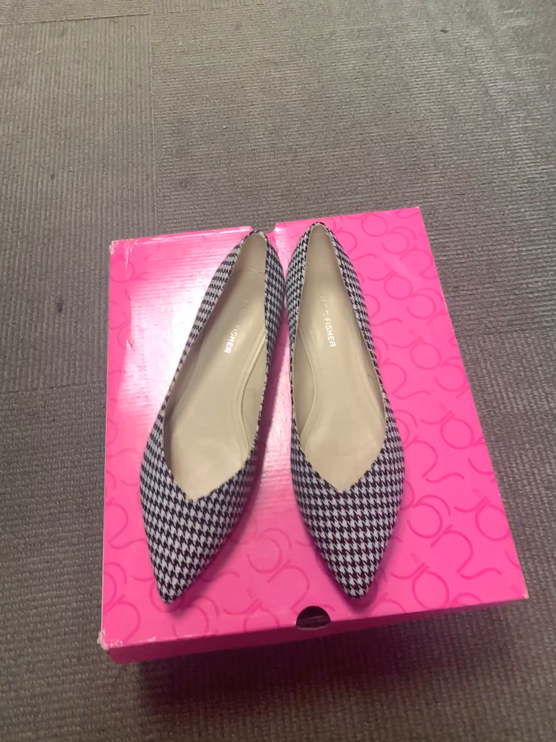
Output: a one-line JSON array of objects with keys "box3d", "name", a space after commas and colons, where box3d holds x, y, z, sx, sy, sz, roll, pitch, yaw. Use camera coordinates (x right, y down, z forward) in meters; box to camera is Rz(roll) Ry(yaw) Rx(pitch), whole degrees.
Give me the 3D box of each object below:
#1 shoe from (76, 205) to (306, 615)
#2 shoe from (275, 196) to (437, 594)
[{"box3d": [-0.045, 0.015, 0.393, 0.080, 0.060, 0.271, 10, 66, 6], "name": "shoe"}, {"box3d": [0.045, 0.006, 0.407, 0.080, 0.060, 0.281, -3, 65, 0], "name": "shoe"}]
